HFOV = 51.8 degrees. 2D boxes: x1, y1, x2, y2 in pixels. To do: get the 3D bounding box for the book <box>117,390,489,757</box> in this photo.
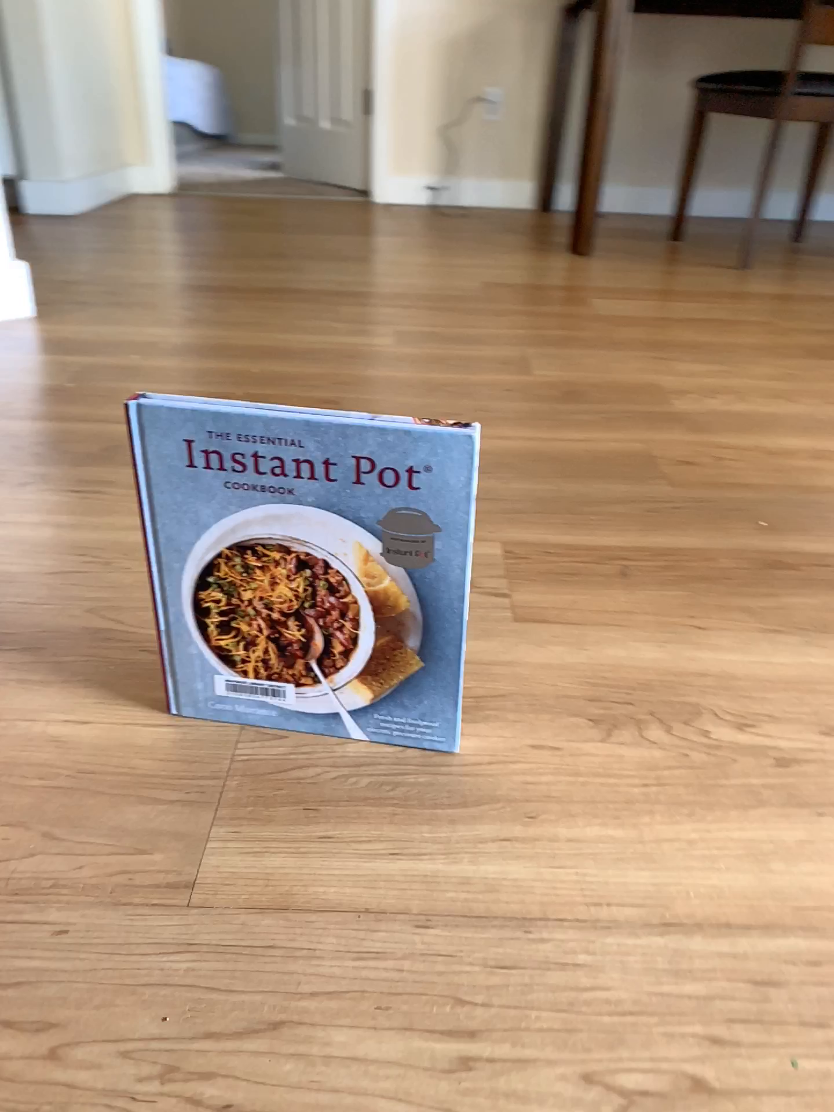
[{"bbox_3d":[-0.076,0.017,0.587,0.230,0.239,0.030,6,26,7],"label":"book"}]
